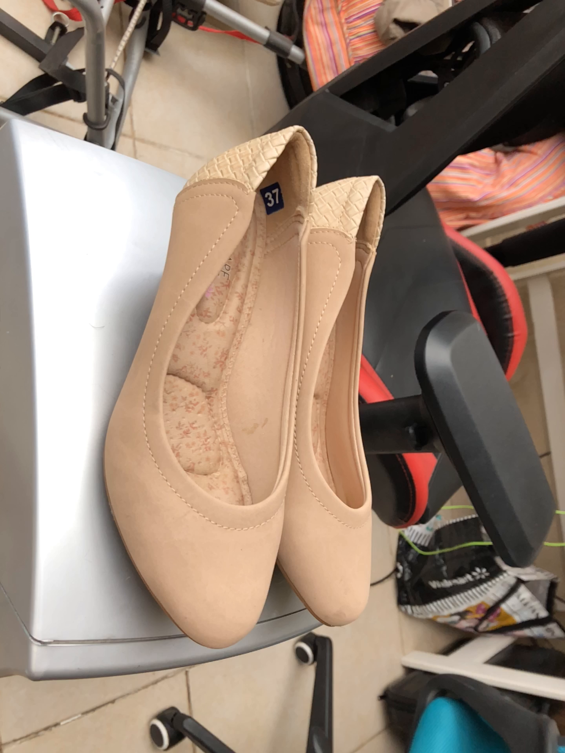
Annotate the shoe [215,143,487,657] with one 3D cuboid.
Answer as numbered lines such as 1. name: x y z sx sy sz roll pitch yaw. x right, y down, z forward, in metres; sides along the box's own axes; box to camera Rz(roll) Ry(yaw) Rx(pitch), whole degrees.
1. shoe: 0.034 0.015 0.366 0.091 0.119 0.244 9 76 -45

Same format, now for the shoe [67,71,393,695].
1. shoe: -0.021 0.005 0.310 0.091 0.119 0.244 16 71 -44
